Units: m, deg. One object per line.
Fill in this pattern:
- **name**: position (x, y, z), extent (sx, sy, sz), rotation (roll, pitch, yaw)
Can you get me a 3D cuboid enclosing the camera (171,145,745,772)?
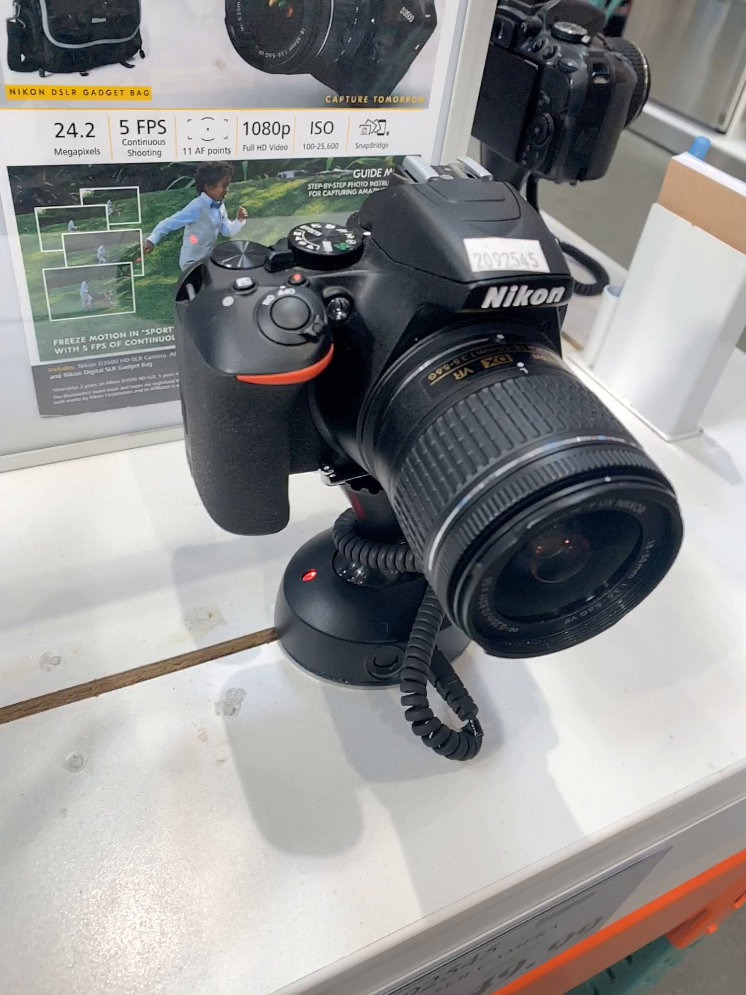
- **camera**: position (0.019, -0.022, 0.208), extent (0.116, 0.099, 0.121), rotation (-10, 44, -21)
